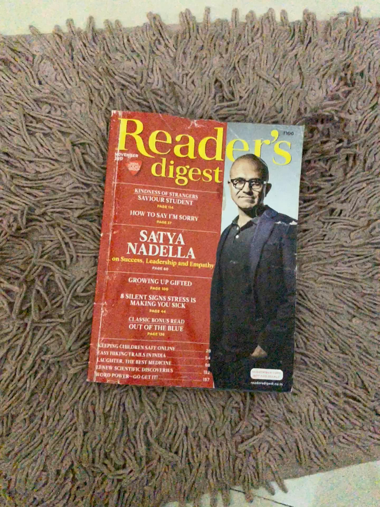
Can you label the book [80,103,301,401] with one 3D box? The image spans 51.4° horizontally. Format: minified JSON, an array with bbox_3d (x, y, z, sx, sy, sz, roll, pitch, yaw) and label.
[{"bbox_3d":[0.004,-0.002,0.259,0.130,0.020,0.180,4,83,-5],"label":"book"}]
